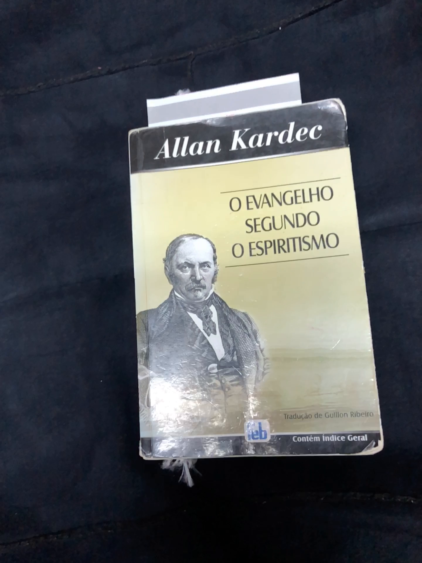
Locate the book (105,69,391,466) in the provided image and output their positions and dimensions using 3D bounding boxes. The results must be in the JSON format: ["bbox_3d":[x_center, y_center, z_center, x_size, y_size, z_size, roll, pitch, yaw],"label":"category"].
[{"bbox_3d":[0.017,-0.006,0.298,0.150,0.050,0.220,-7,80,12],"label":"book"}]
